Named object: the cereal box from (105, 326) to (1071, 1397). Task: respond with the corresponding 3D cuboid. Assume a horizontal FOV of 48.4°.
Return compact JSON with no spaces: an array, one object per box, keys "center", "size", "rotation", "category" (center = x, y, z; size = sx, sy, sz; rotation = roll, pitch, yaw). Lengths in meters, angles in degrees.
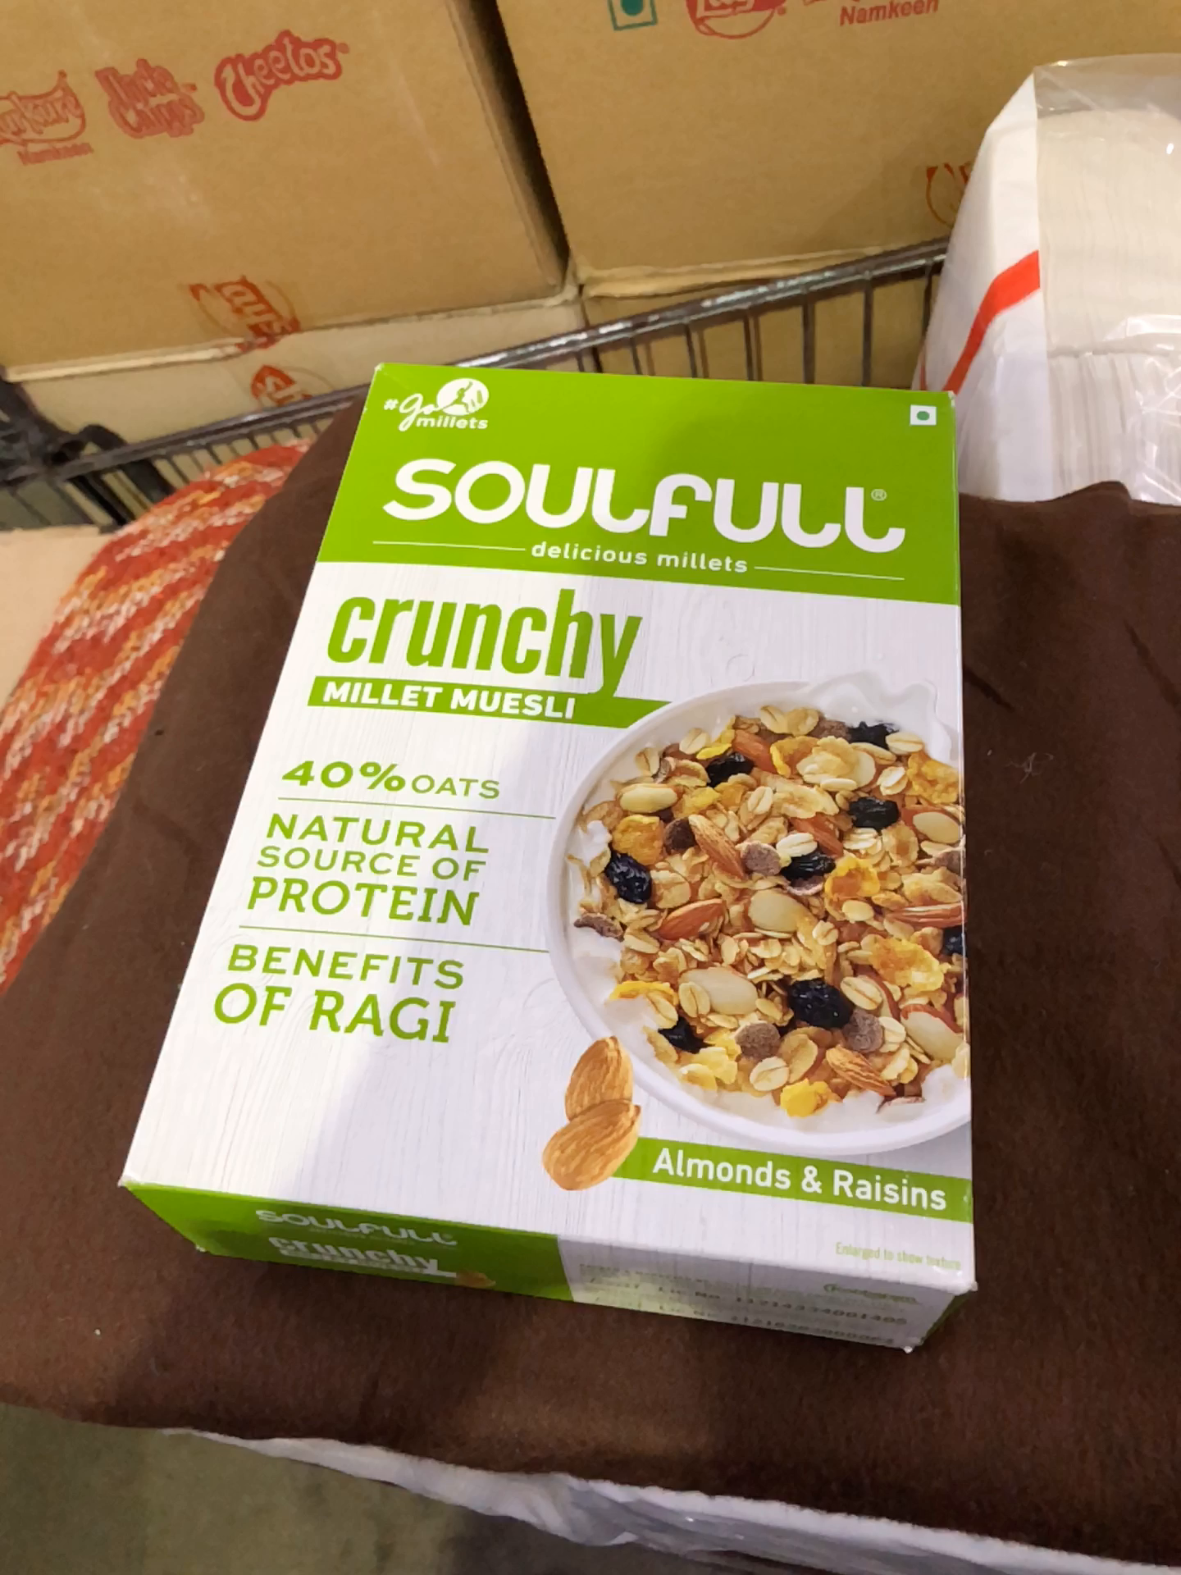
[{"center":[0.015,-0.005,0.305],"size":[0.160,0.060,0.241],"rotation":[4,56,9],"category":"cereal box"}]
